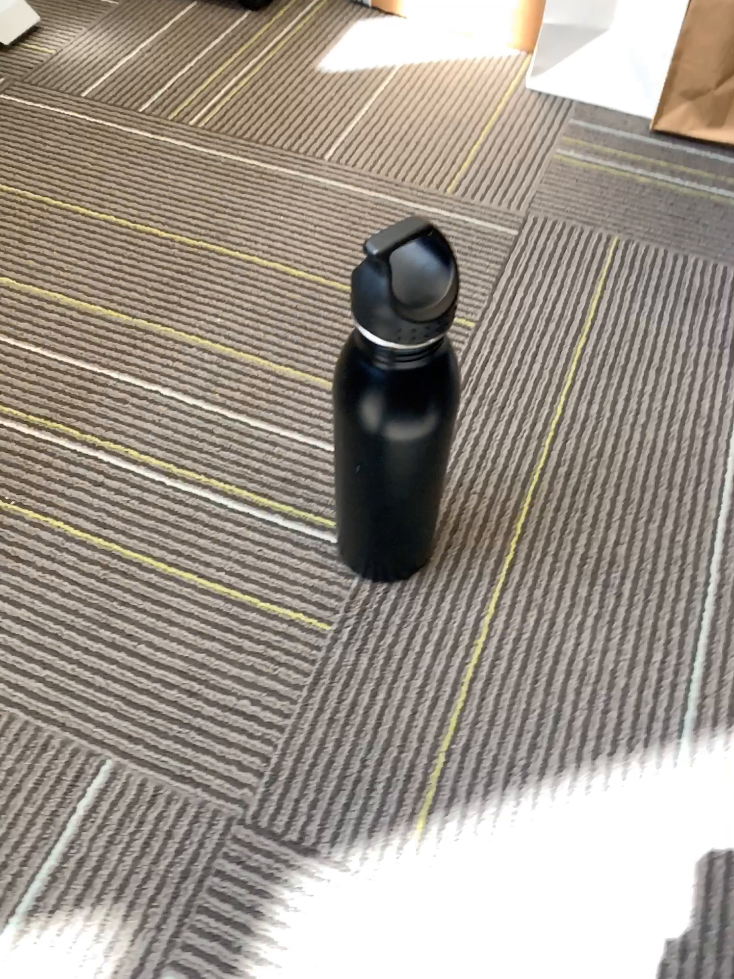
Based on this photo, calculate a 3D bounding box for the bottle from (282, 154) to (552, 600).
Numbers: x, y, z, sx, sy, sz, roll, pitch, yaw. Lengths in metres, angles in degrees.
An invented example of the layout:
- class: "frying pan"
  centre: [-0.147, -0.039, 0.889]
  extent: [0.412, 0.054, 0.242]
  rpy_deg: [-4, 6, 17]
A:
- class: "bottle"
  centre: [0.017, -0.042, 0.423]
  extent: [0.090, 0.249, 0.080]
  rpy_deg: [-18, 58, -13]
